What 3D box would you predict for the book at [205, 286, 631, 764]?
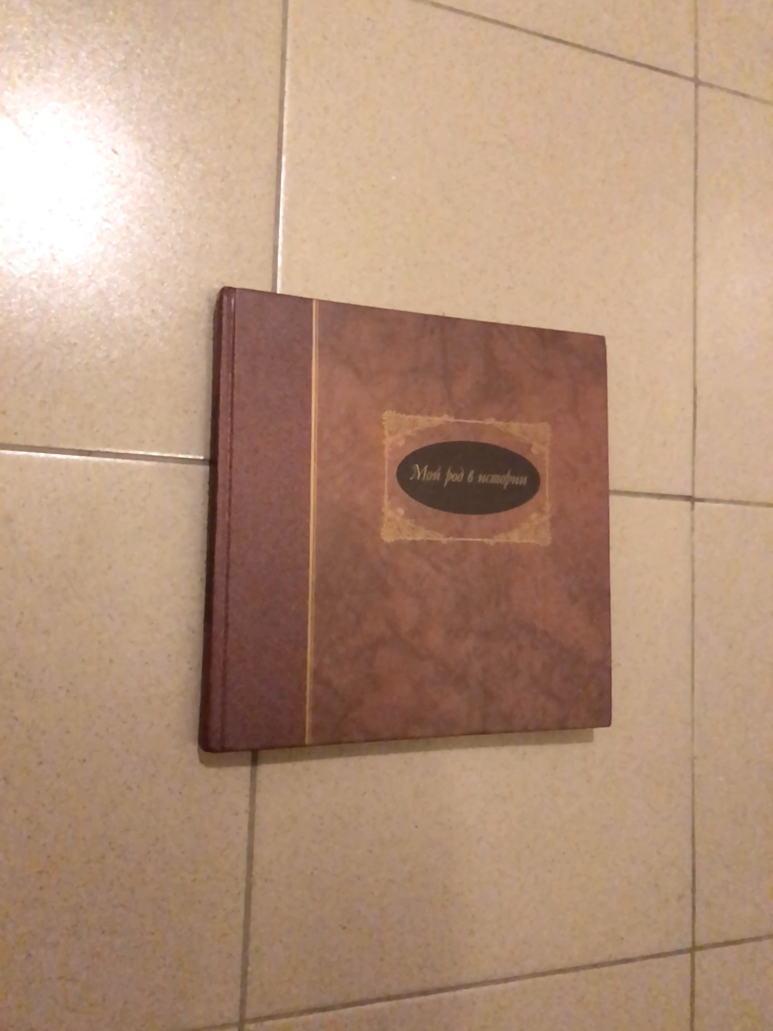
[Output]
[{"bbox_3d":[0.022,0.006,0.491,0.244,0.038,0.244,1,84,-20],"label":"book"}]
